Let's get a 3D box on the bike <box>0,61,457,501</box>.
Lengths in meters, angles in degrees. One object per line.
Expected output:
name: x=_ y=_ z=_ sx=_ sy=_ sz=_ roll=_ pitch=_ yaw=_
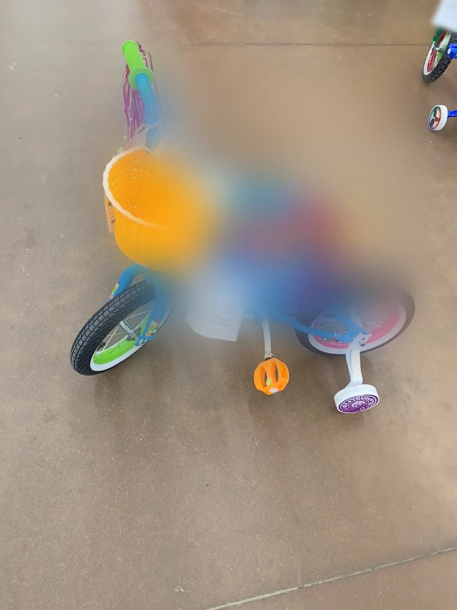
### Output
bike: x=0.080 y=-0.040 z=0.989 sx=0.833 sy=0.666 sz=0.523 roll=-5 pitch=51 yaw=-9
